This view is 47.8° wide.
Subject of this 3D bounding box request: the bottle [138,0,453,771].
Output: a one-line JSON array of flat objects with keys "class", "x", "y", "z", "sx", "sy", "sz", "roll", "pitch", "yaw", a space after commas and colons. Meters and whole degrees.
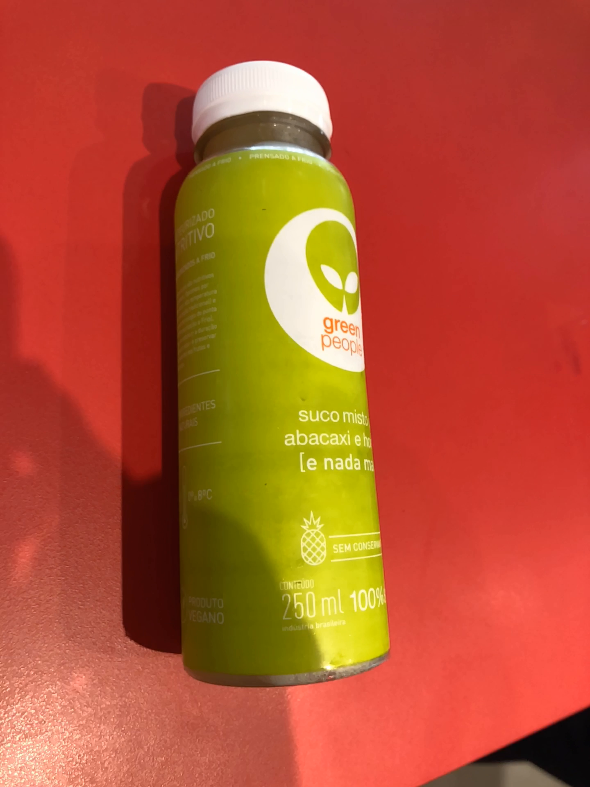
[{"class": "bottle", "x": 0.000, "y": -0.010, "z": 0.172, "sx": 0.060, "sy": 0.050, "sz": 0.170, "roll": 5, "pitch": 81, "yaw": -48}]
